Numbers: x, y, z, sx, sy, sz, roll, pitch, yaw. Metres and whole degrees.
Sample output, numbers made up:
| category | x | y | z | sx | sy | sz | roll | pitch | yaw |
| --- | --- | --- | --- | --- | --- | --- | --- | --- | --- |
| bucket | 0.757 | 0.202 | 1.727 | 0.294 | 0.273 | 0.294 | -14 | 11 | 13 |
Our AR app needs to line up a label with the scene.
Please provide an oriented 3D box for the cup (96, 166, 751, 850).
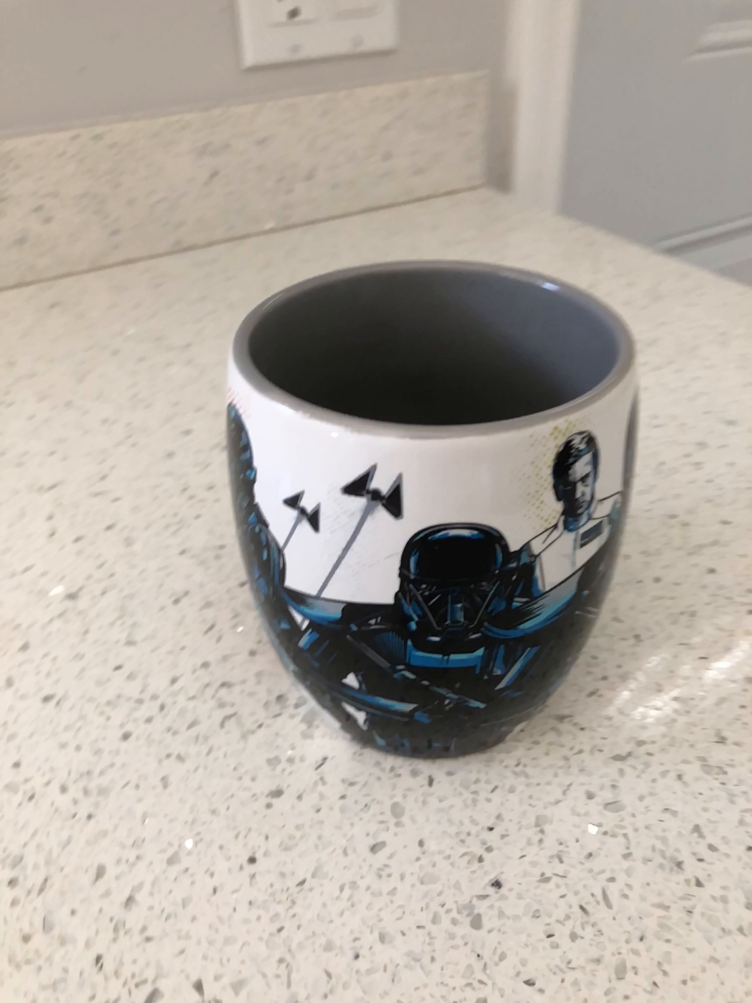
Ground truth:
| category | x | y | z | sx | sy | sz | roll | pitch | yaw |
| --- | --- | --- | --- | --- | --- | --- | --- | --- | --- |
| cup | 0.025 | -0.015 | 0.225 | 0.100 | 0.100 | 0.140 | 22 | 42 | 30 |
